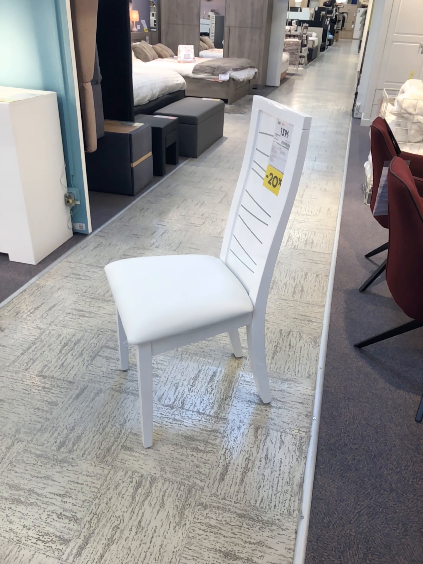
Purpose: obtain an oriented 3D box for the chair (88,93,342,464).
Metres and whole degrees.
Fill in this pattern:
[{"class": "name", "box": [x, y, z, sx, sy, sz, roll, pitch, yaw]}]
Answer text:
[{"class": "chair", "box": [-0.036, -0.021, 1.452, 0.541, 1.004, 0.452, -9, 31, -19]}]
